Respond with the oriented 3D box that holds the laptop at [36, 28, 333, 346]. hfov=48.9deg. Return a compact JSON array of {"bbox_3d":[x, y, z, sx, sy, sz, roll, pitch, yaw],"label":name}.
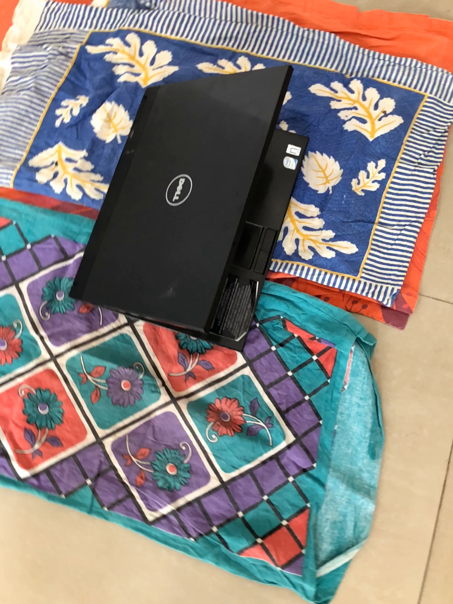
[{"bbox_3d":[-0.039,-0.127,0.601,0.234,0.144,0.299,16,81,6],"label":"laptop"}]
